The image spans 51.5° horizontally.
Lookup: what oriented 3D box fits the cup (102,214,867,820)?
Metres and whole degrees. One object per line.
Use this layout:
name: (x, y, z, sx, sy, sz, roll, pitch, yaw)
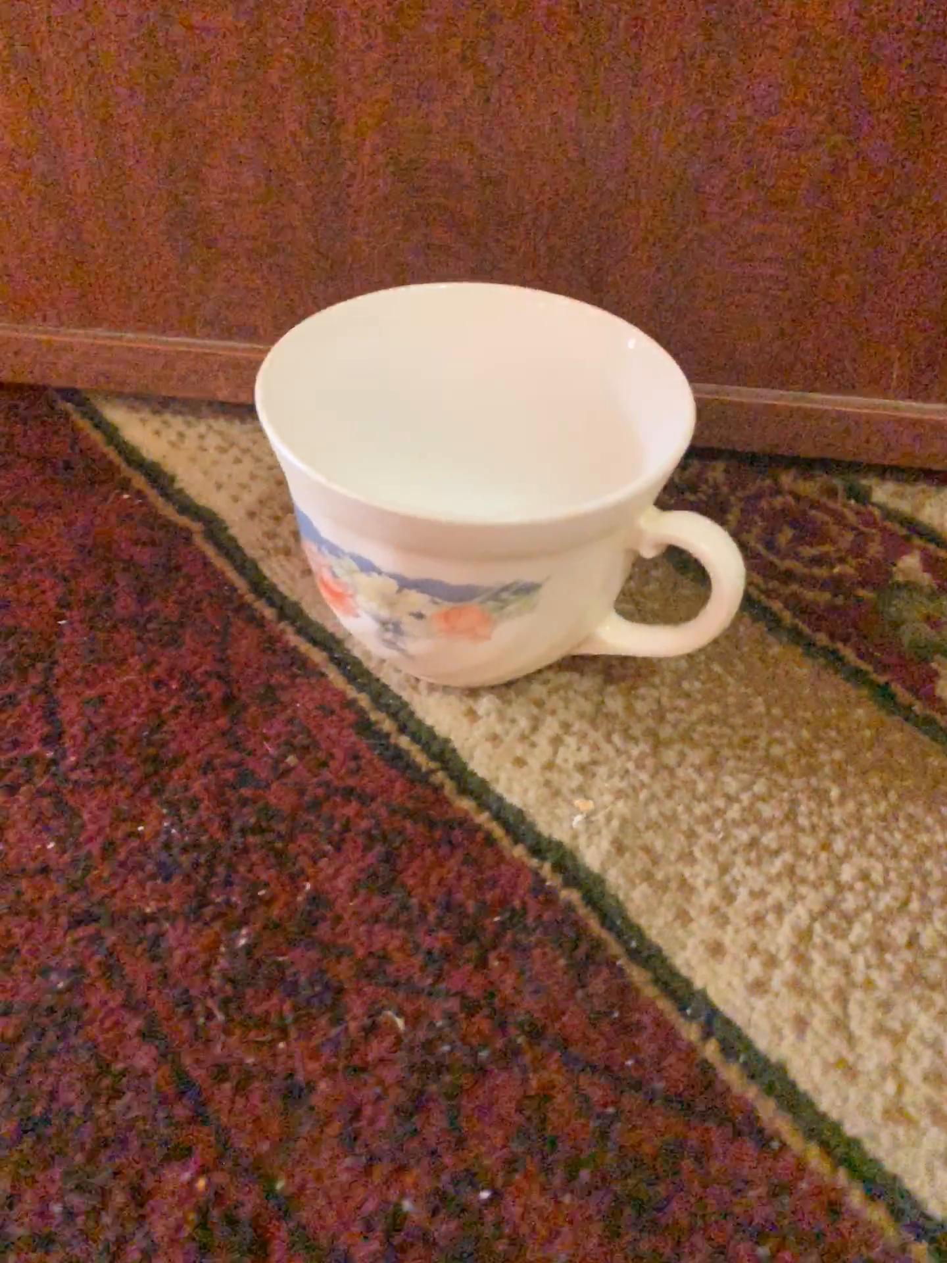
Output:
cup: (0.005, -0.031, 0.191, 0.109, 0.053, 0.083, 20, 45, 19)
